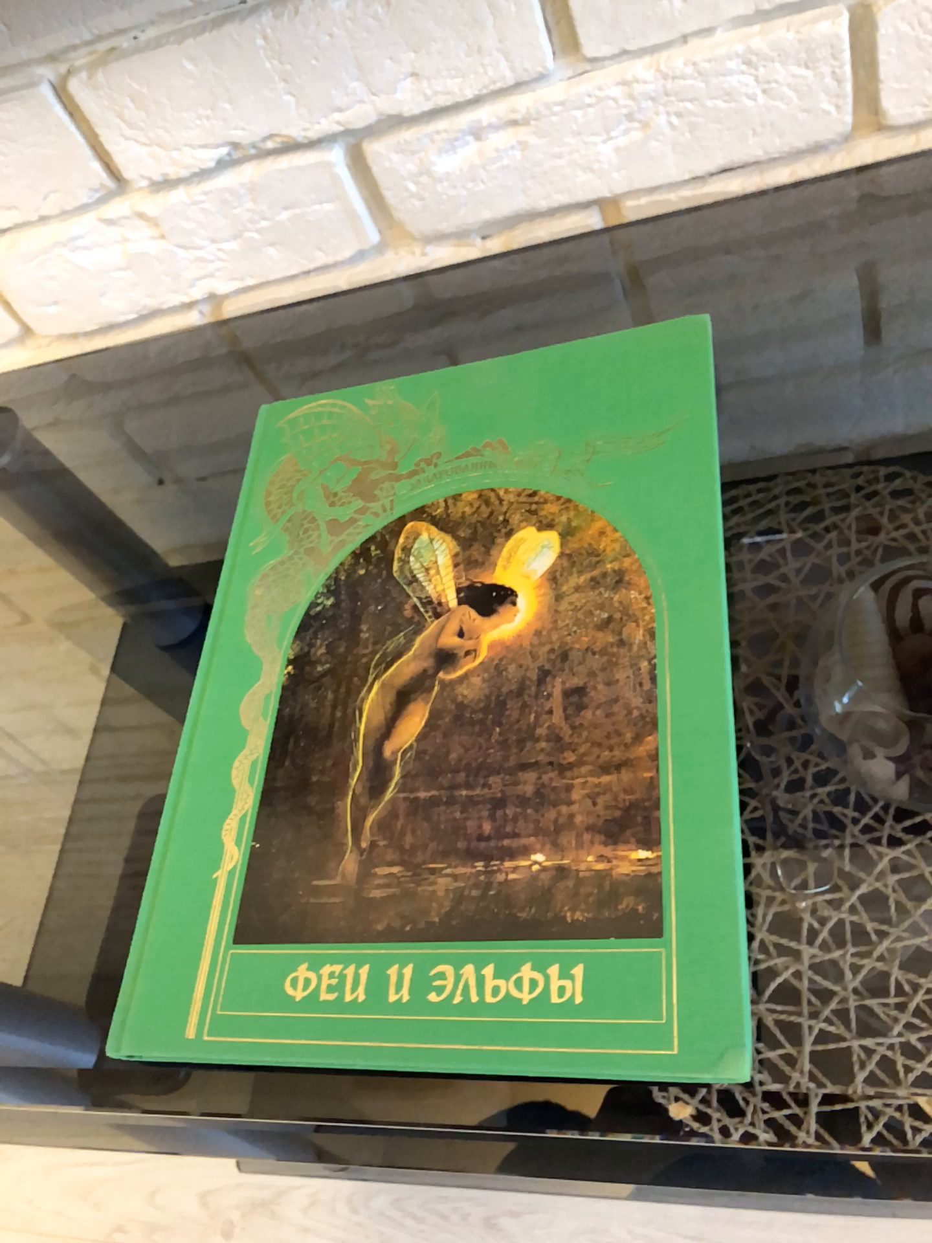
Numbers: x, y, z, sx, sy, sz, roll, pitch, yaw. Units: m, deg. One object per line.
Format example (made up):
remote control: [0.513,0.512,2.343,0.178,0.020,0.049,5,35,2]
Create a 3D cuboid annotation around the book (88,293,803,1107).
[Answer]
book: [-0.001,0.012,0.381,0.217,0.030,0.291,-6,56,20]
